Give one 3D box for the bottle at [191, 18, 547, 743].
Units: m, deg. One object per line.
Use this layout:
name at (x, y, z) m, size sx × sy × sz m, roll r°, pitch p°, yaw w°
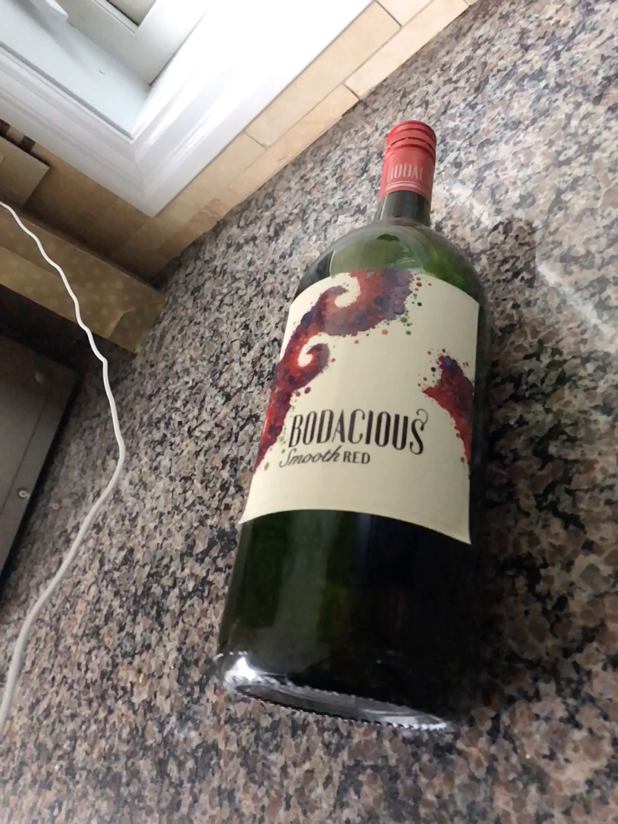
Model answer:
bottle at (0.043, -0.037, 0.335) m, size 0.100 × 0.110 × 0.340 m, roll 93°, pitch -174°, yaw -61°
